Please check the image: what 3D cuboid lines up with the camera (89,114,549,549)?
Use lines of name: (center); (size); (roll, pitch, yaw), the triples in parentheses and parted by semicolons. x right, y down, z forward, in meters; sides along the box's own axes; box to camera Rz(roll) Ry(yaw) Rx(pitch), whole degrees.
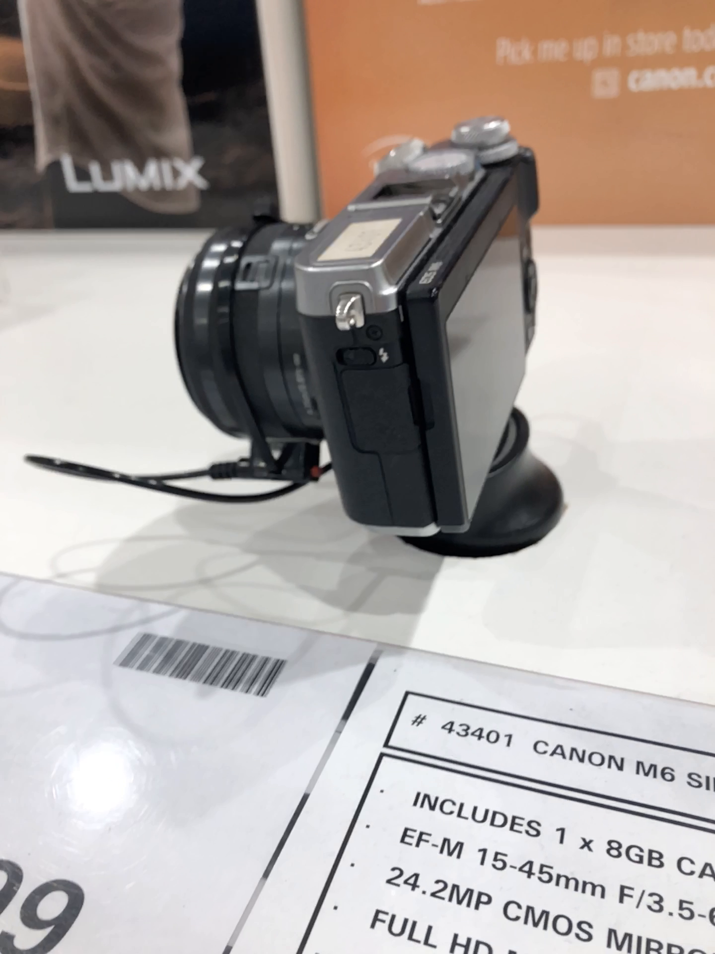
camera: (0.002, -0.045, 0.225); (0.083, 0.075, 0.103); (3, 34, 22)
